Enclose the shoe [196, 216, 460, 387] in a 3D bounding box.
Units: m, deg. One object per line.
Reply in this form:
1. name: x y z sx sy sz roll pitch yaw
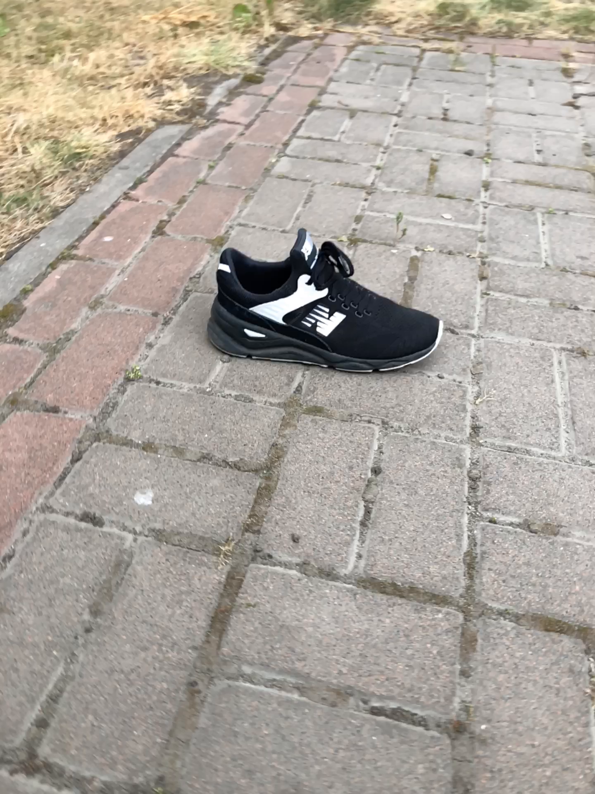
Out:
1. shoe: 0.035 -0.113 0.763 0.280 0.129 0.101 8 42 6
